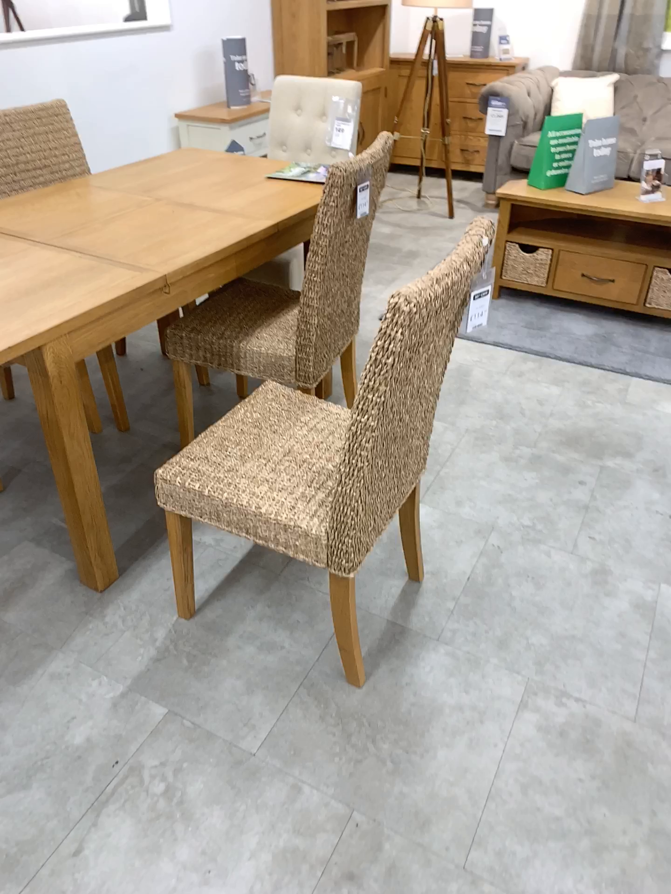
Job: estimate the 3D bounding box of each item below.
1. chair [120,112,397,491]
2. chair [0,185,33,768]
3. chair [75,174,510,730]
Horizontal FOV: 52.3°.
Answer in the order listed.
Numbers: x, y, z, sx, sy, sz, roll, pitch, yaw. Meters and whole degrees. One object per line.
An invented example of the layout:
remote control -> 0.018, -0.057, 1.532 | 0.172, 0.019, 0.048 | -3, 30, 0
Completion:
chair -> -0.174, -0.416, 1.958 | 0.553, 0.893, 0.441 | 12, 36, 17
chair -> -1.002, 0.068, 1.226 | 0.513, 0.903, 0.401 | 10, 36, 14
chair -> -0.048, -0.002, 1.403 | 0.563, 0.903, 0.491 | 16, 38, 22
